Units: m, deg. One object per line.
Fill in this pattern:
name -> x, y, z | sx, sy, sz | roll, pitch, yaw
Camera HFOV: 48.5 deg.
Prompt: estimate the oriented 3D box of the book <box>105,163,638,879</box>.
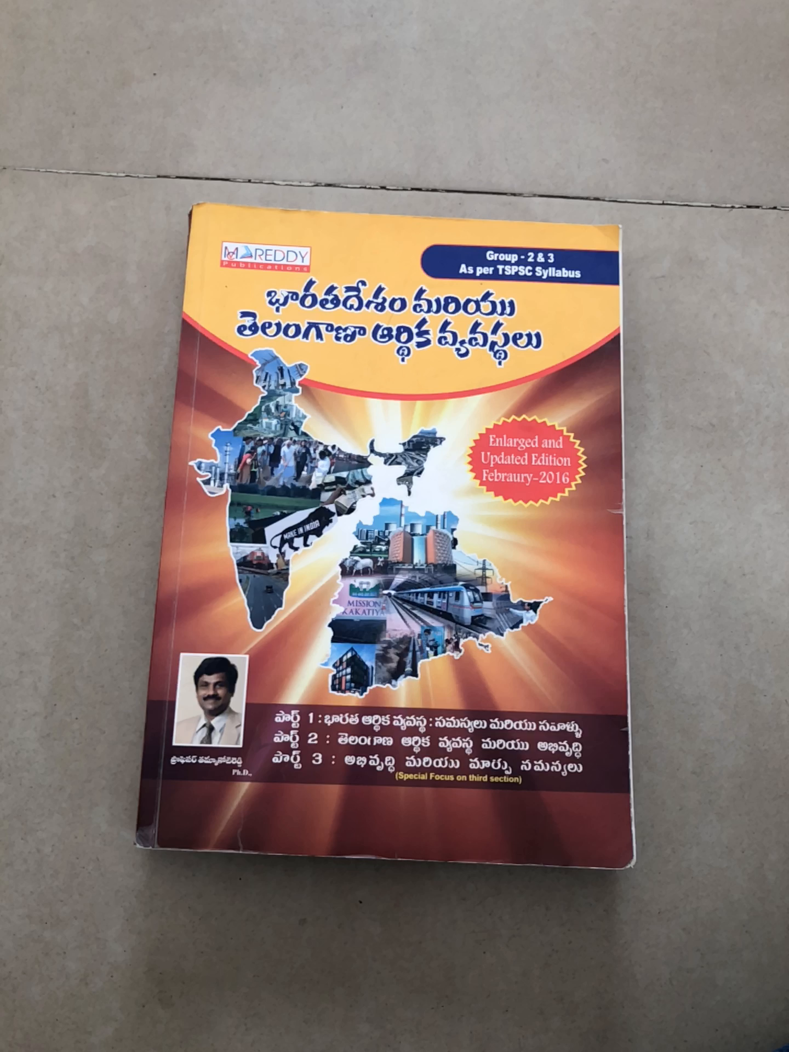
book -> -0.004, -0.010, 0.357 | 0.190, 0.030, 0.280 | 2, 78, -2
